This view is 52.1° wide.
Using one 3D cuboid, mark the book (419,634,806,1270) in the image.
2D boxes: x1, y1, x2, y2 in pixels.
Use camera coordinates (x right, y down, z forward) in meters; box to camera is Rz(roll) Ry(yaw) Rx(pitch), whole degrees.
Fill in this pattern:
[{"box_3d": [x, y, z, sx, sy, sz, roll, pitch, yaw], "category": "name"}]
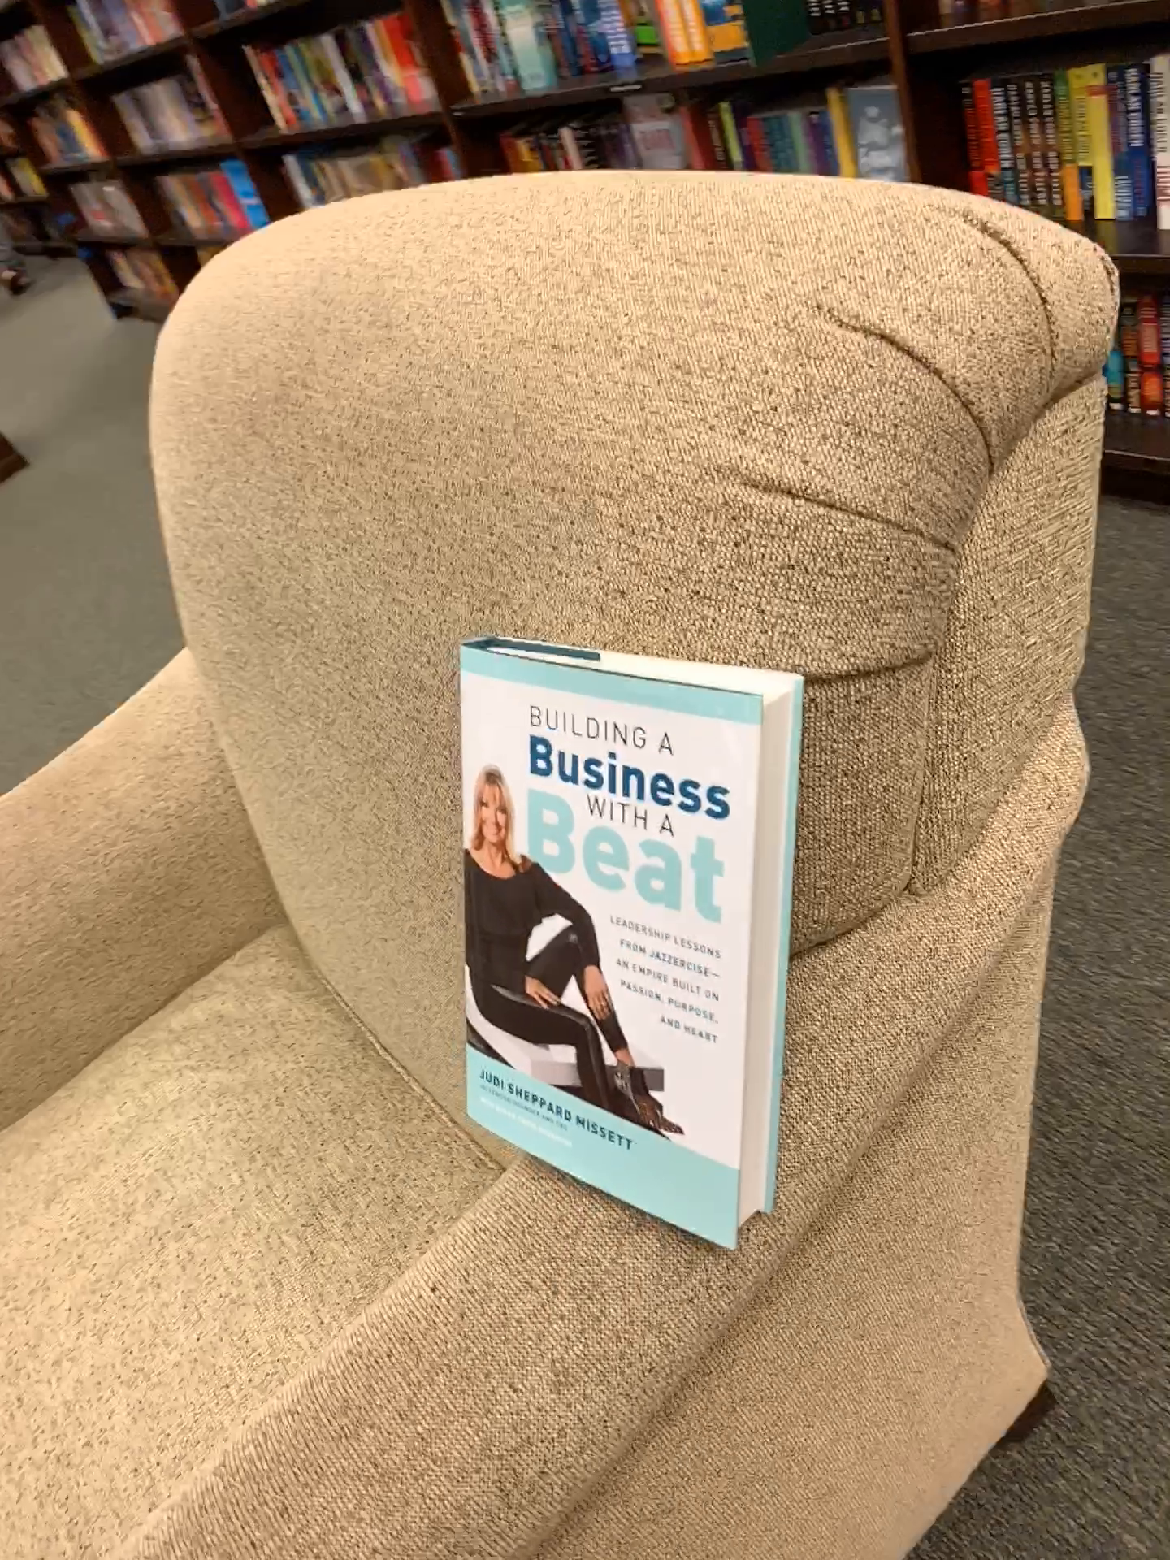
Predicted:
[{"box_3d": [0.006, 0.062, 0.509, 0.171, 0.229, 0.040, 13, 20, 41], "category": "book"}]
